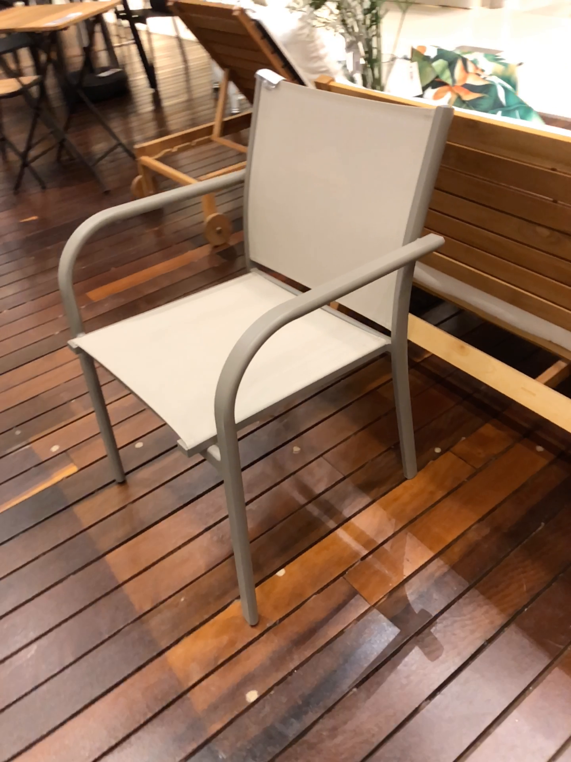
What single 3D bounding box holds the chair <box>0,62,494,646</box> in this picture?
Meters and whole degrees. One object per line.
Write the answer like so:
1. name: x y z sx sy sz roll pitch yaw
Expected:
1. chair: -0.080 -0.097 1.250 0.611 0.794 0.623 -30 44 -27
